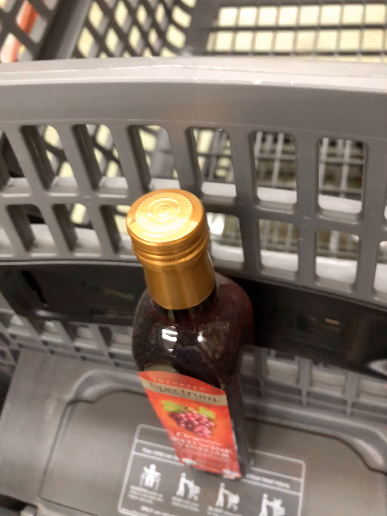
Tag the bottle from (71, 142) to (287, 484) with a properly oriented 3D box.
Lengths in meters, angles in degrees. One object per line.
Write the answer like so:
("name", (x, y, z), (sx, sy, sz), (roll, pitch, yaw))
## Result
("bottle", (0.015, 0.063, 0.277), (0.070, 0.270, 0.070), (-5, 50, 6))
